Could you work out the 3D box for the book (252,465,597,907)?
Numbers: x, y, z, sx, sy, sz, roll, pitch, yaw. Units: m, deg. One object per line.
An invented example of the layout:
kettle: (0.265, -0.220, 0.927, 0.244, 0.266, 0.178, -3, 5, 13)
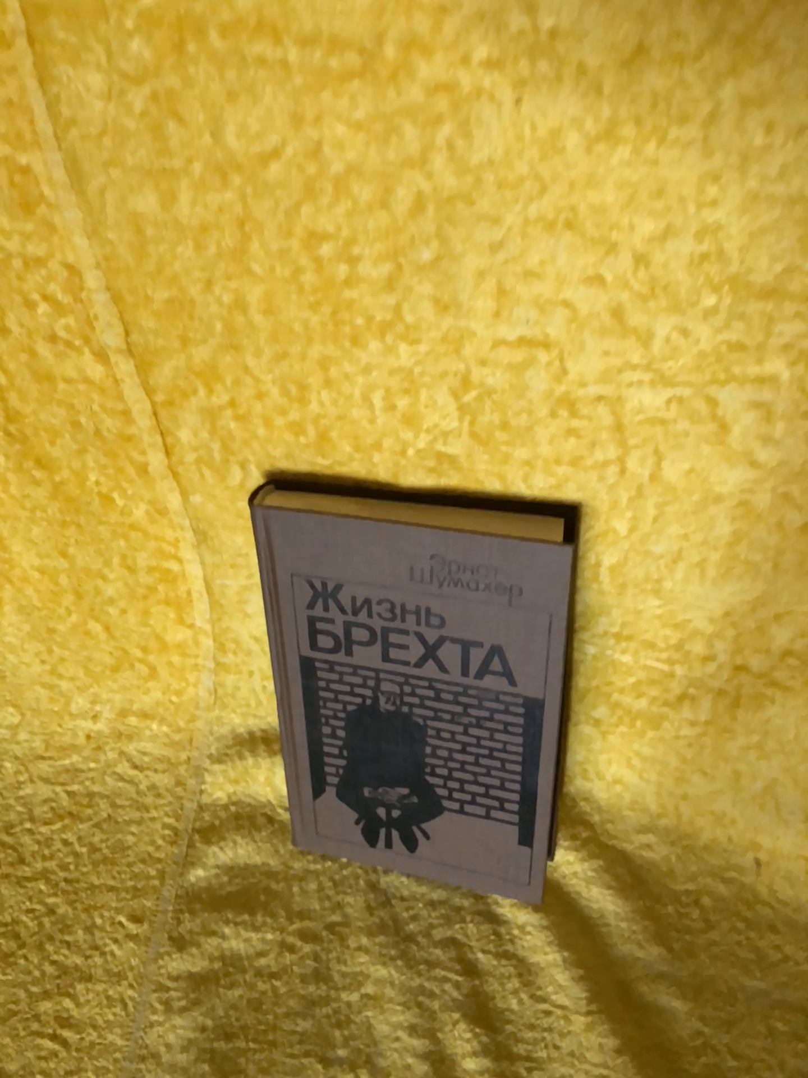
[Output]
book: (0.008, 0.071, 0.400, 0.130, 0.200, 0.033, 8, 32, 14)
